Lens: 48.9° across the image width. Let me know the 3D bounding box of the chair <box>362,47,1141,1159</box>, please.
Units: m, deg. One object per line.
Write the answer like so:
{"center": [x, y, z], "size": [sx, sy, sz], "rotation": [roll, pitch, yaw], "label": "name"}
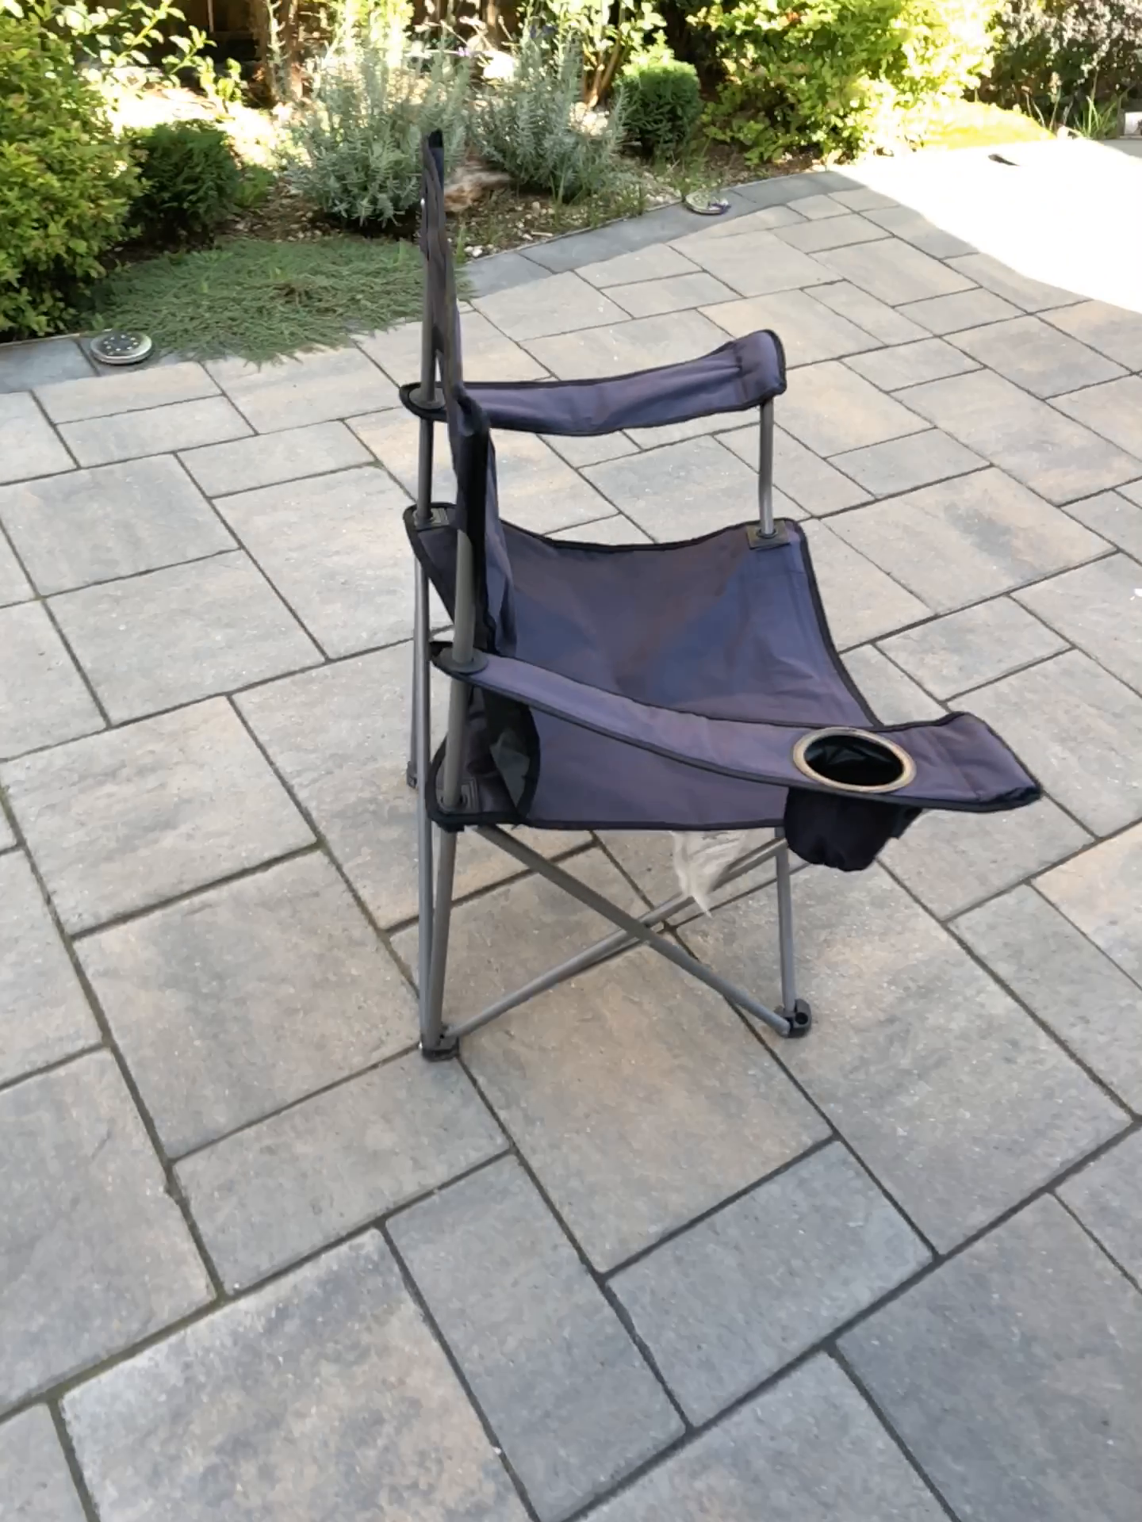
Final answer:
{"center": [0.088, -0.139, 1.269], "size": [0.570, 0.817, 0.692], "rotation": [-1, 45, -11], "label": "chair"}
